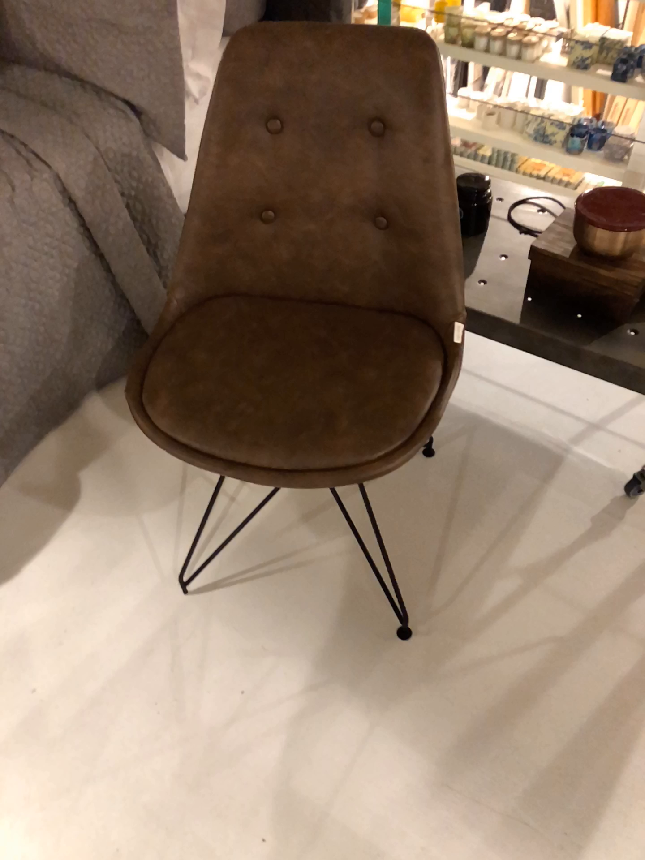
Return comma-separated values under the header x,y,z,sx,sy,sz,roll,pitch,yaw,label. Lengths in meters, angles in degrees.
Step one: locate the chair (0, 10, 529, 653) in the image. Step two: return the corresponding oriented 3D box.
x,y,z,sx,sy,sz,roll,pitch,yaw,label
-0.021,-0.130,1.101,0.510,0.755,0.553,9,49,11,chair
